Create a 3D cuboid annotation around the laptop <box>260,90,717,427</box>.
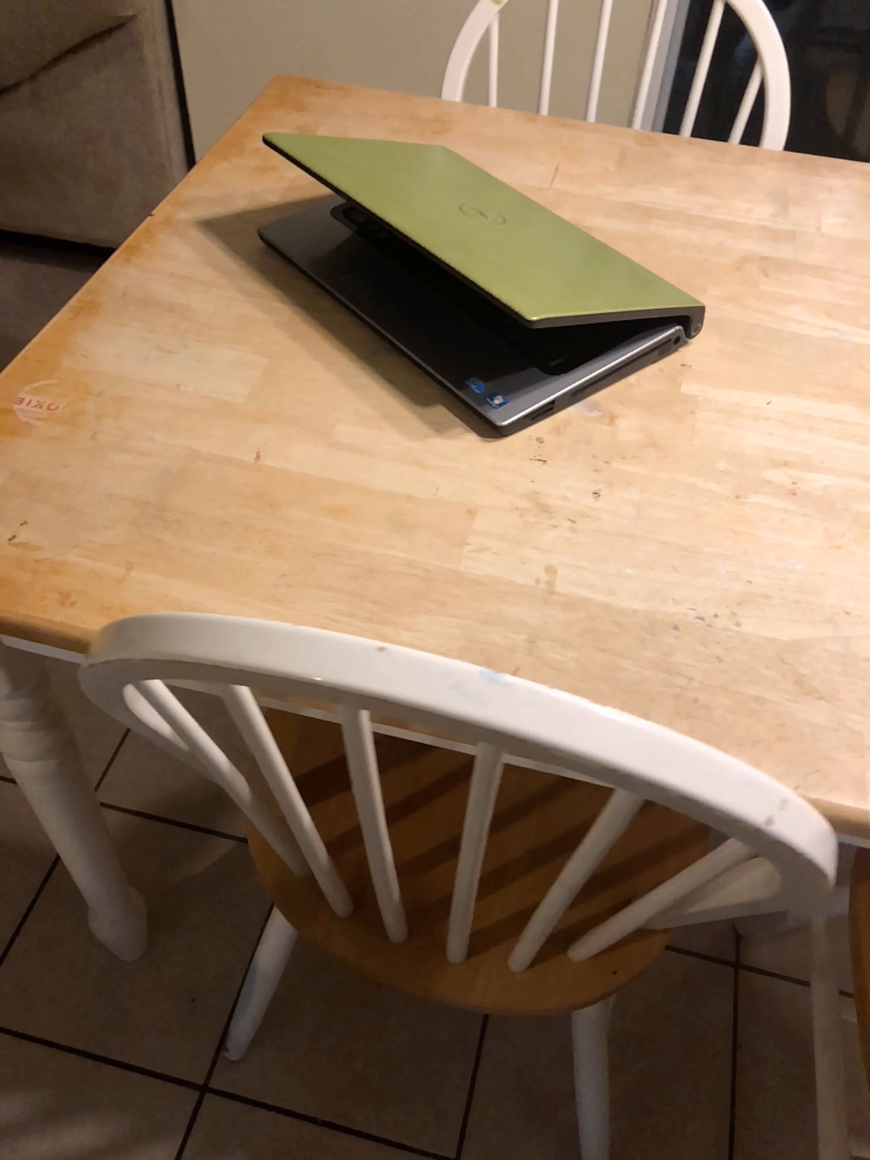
[{"bbox_3d":[0.034,-0.310,0.862,0.227,0.076,0.359,-30,56,-24],"label":"laptop"}]
